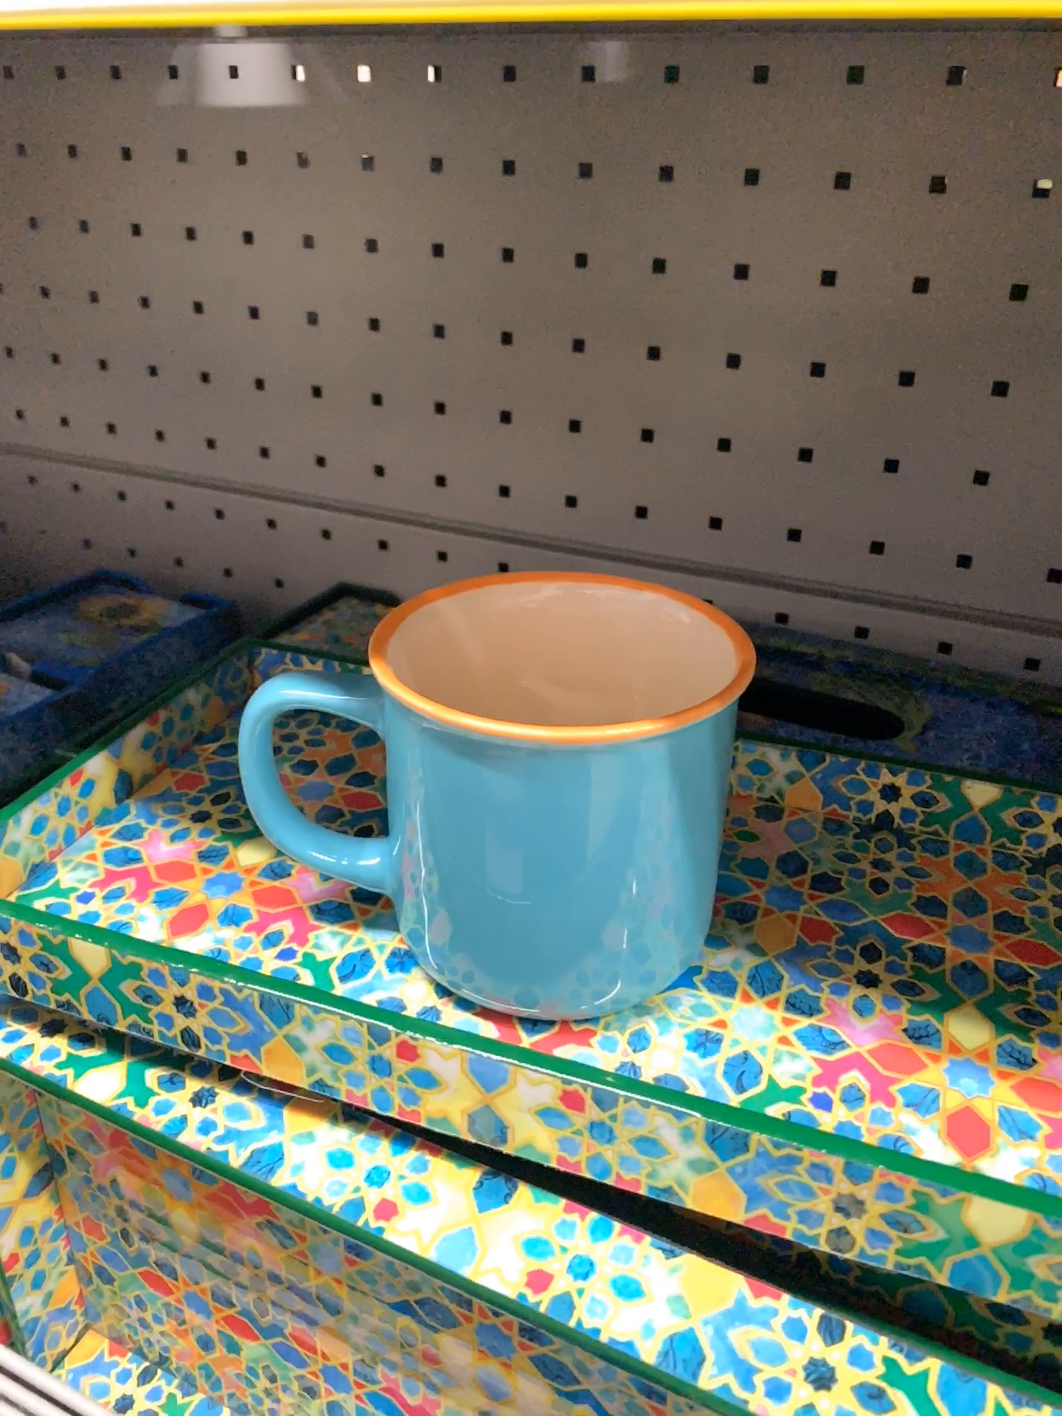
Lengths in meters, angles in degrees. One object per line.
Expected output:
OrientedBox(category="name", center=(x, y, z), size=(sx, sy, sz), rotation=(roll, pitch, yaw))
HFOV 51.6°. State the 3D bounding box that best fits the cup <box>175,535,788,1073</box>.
OrientedBox(category="cup", center=(-0.004, 0.016, 0.267), size=(0.120, 0.080, 0.090), rotation=(7, 28, 10))
